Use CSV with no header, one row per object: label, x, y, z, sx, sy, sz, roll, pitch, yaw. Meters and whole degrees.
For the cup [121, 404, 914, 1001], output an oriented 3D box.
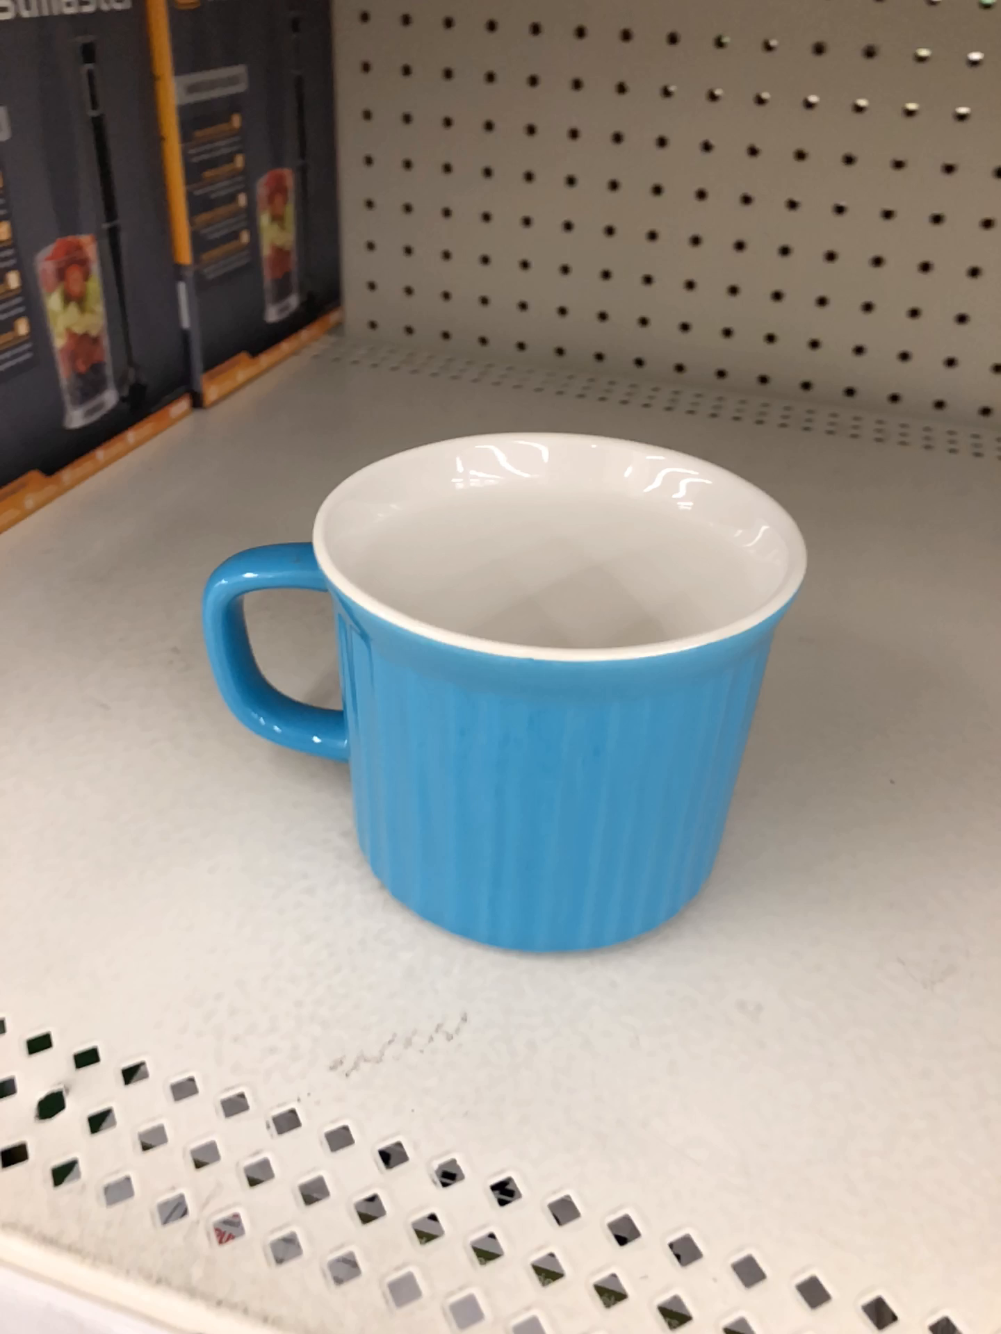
cup,0.006,0.001,0.303,0.160,0.093,0.126,4,34,3
